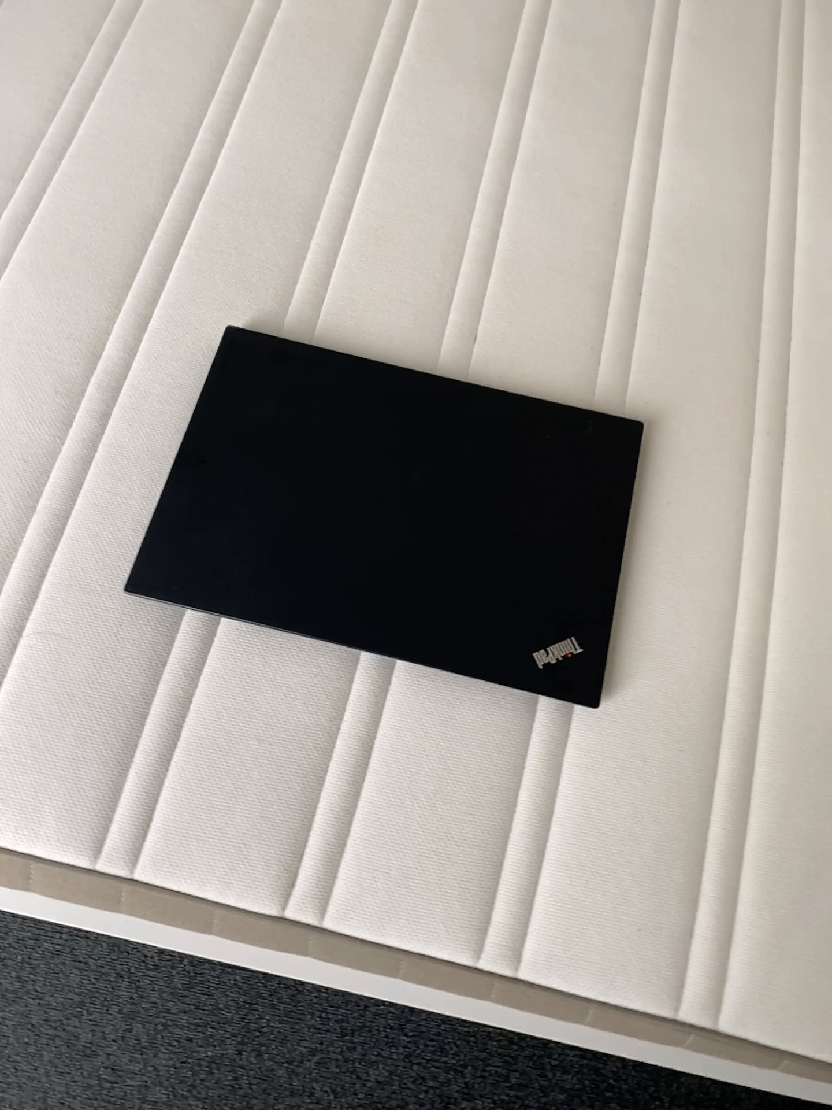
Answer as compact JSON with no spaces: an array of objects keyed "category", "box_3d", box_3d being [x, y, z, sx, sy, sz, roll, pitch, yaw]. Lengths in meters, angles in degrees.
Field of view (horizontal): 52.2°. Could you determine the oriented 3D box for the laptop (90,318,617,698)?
[{"category":"laptop","box_3d":[-0.032,-0.044,0.609,0.325,0.012,0.226,13,66,2]}]
